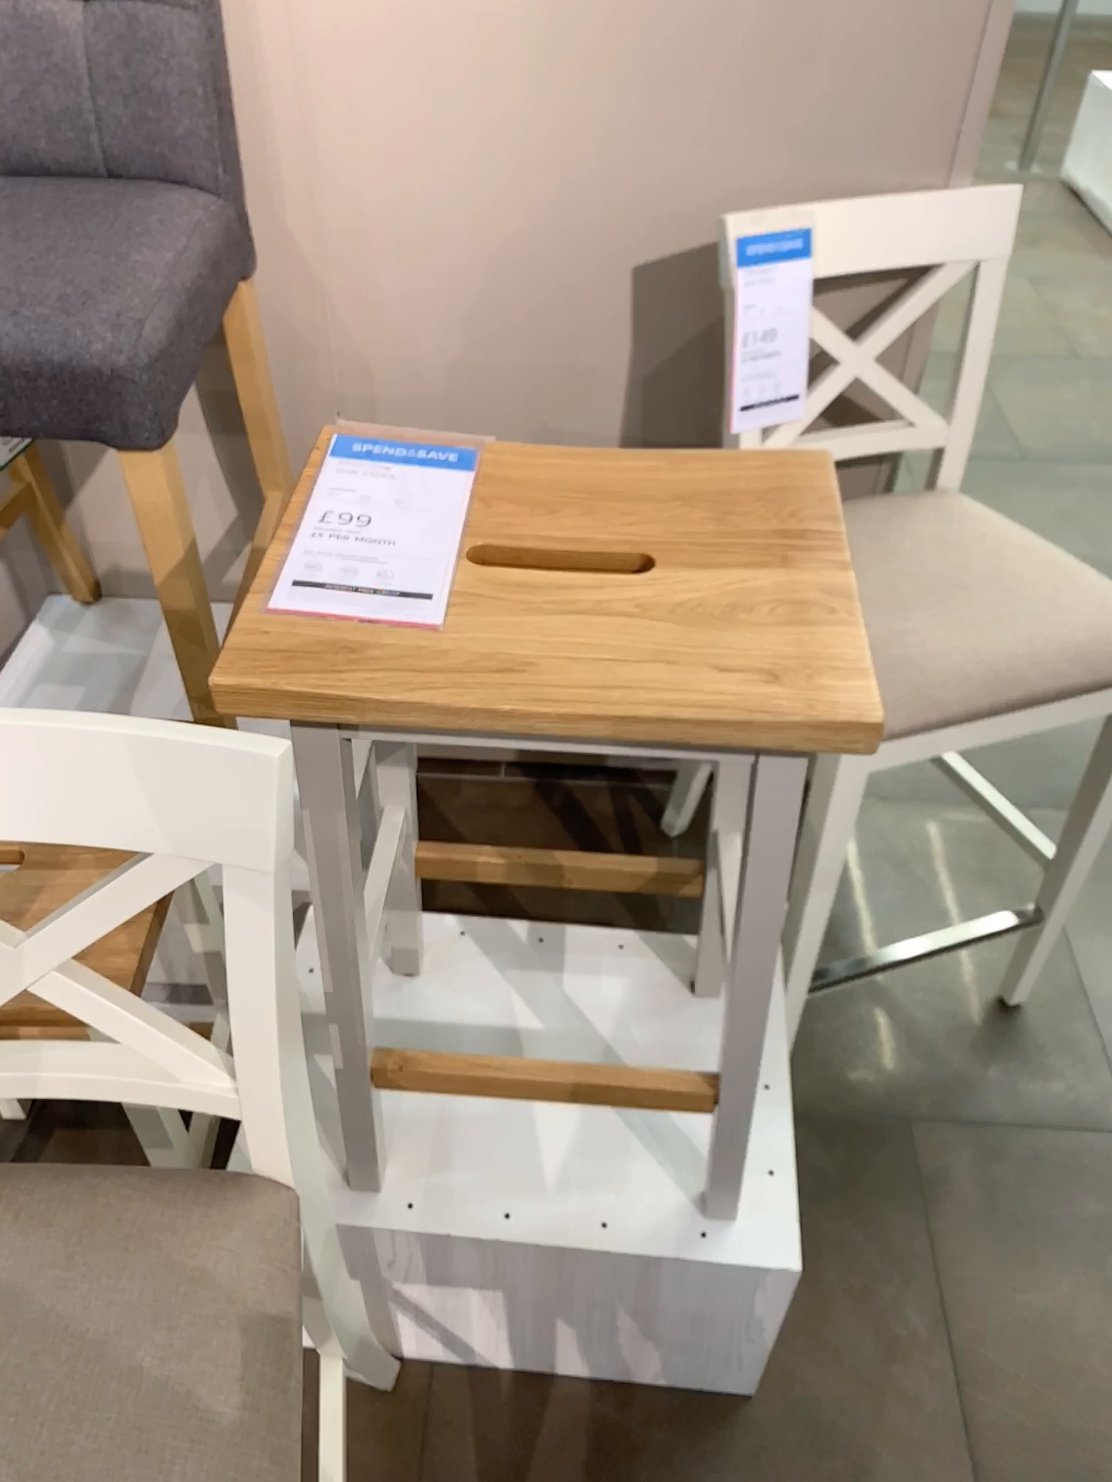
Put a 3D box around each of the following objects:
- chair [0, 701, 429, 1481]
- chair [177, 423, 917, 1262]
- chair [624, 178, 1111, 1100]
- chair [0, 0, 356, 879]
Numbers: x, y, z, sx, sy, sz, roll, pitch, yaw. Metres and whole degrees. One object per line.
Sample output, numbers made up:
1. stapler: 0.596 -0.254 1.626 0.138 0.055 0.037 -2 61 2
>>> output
1. chair: -0.337 0.506 0.748 0.437 0.955 0.506 -1 43 -3
2. chair: -0.002 0.117 0.948 0.397 0.638 0.324 3 43 2
3. chair: 0.400 -0.090 1.406 0.417 0.945 0.515 -13 45 -15
4. chair: -0.538 -0.396 1.186 0.467 0.984 0.536 3 43 2
